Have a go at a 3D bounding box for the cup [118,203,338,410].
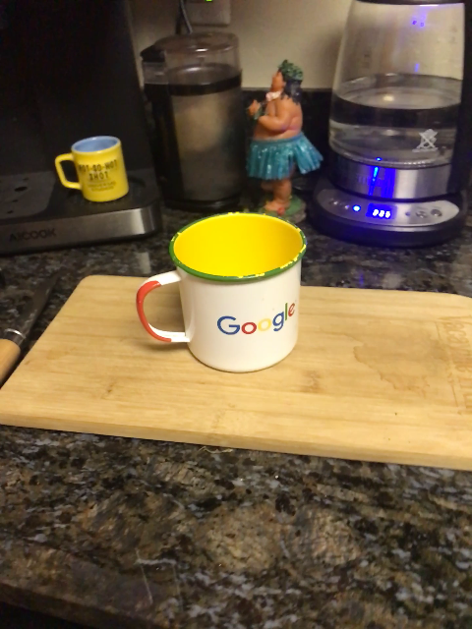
[{"bbox_3d":[-0.009,-0.011,0.385,0.130,0.089,0.101,-13,37,-13],"label":"cup"}]
